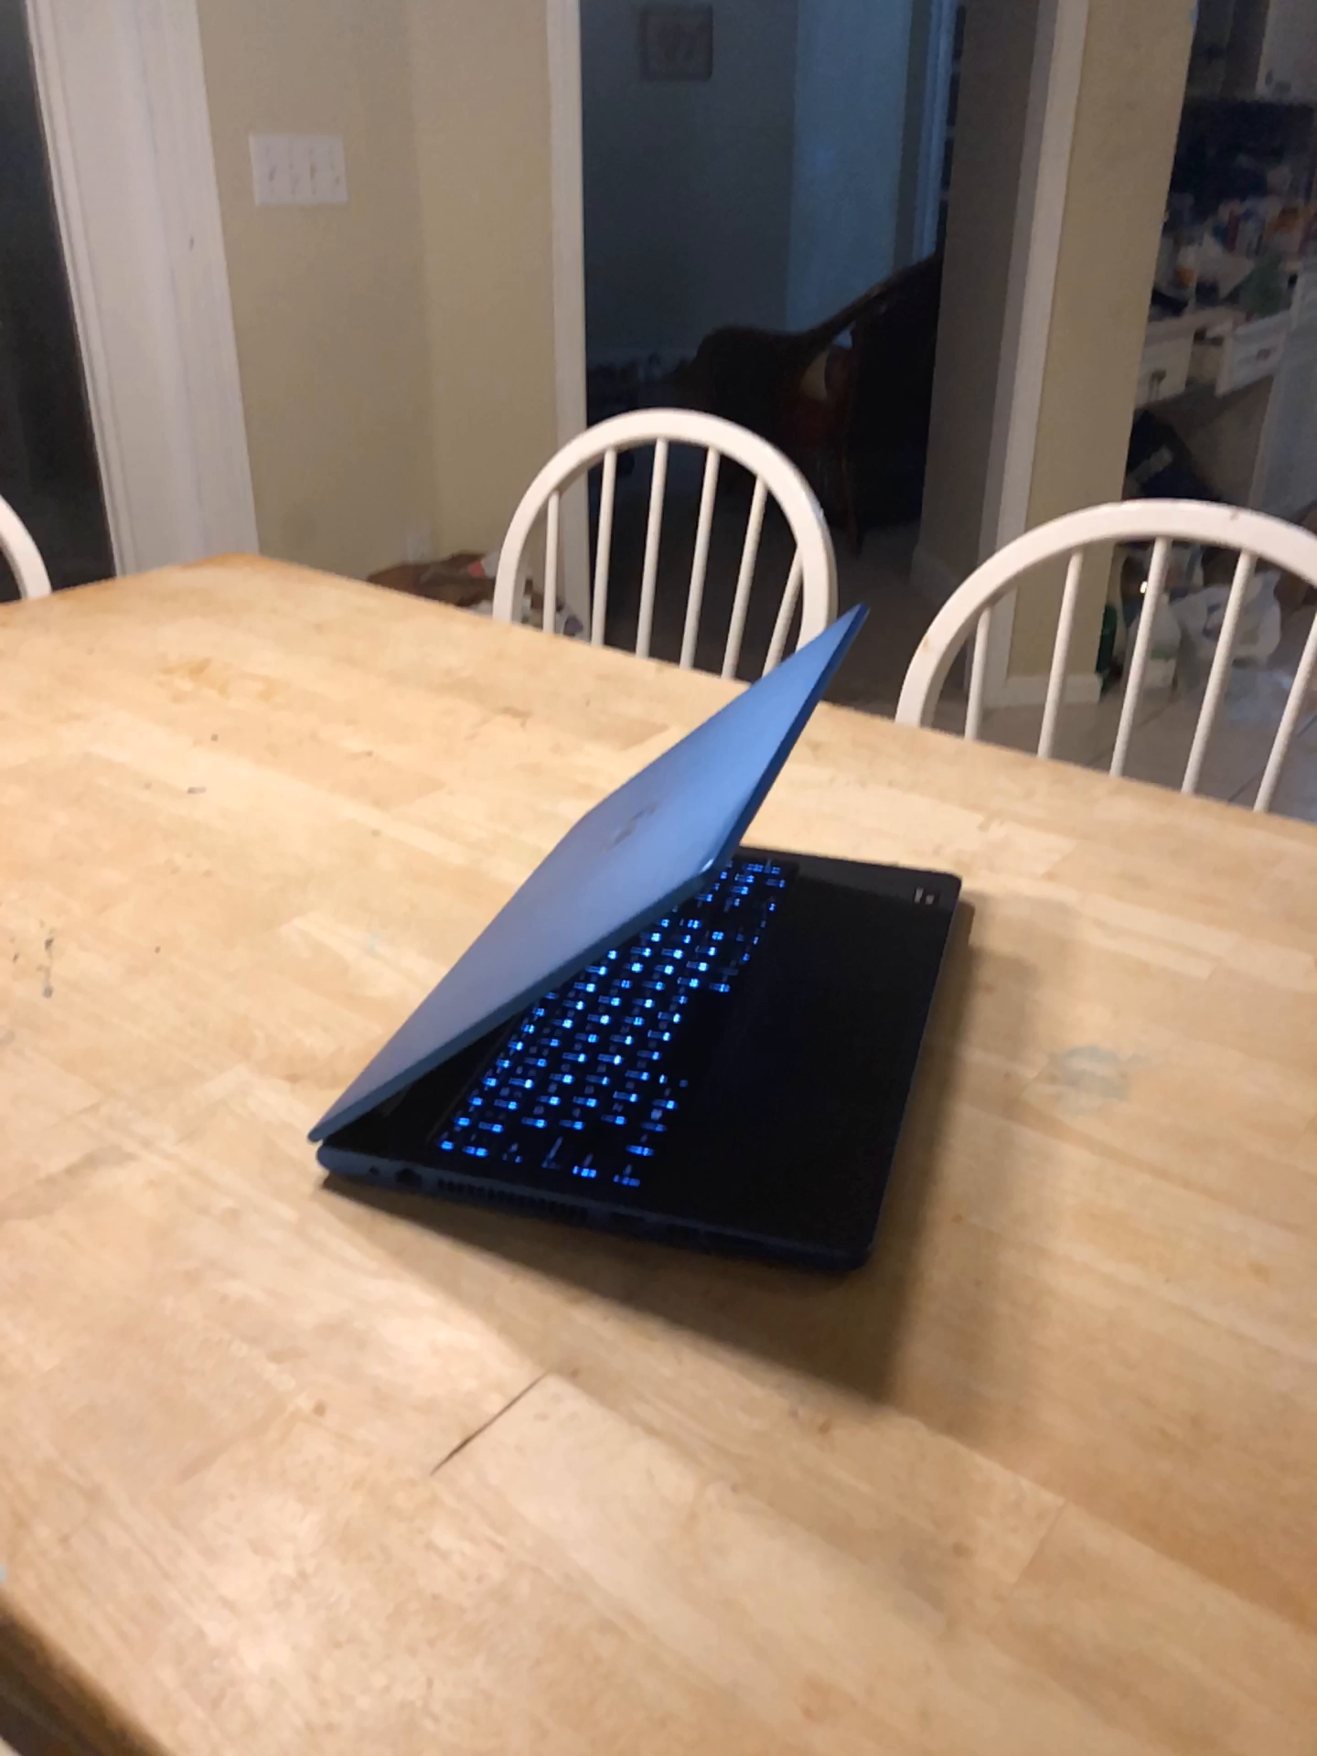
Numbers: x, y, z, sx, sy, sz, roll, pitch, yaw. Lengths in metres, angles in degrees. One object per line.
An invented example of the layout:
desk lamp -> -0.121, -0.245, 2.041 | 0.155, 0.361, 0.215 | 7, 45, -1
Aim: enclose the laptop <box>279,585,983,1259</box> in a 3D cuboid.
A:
laptop -> 0.018, -0.012, 0.736 | 0.248, 0.160, 0.363 | 8, 28, 13
